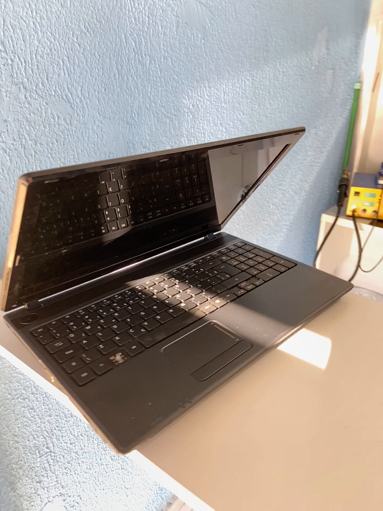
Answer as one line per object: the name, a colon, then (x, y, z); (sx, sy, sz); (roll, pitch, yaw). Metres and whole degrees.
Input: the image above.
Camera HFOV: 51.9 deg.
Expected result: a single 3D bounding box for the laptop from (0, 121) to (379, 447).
laptop: (0.000, -0.032, 0.467); (0.377, 0.191, 0.248); (-22, 33, -38)
